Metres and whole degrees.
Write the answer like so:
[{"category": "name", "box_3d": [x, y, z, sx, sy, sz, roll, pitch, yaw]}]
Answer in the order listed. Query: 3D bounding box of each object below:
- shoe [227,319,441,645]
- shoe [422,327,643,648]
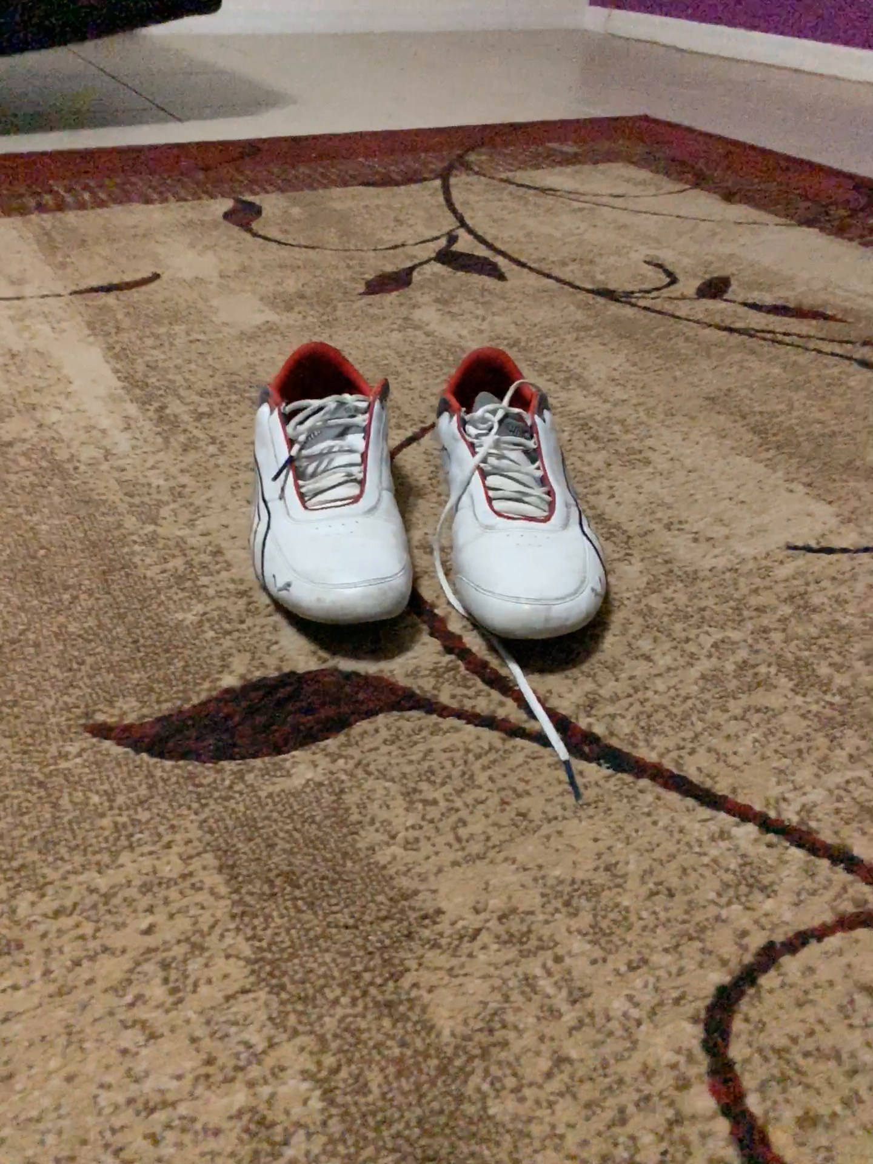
[{"category": "shoe", "box_3d": [-0.077, -0.083, 0.579, 0.099, 0.070, 0.283, -6, 37, -11]}, {"category": "shoe", "box_3d": [0.046, -0.077, 0.580, 0.103, 0.070, 0.283, 1, 37, -3]}]
